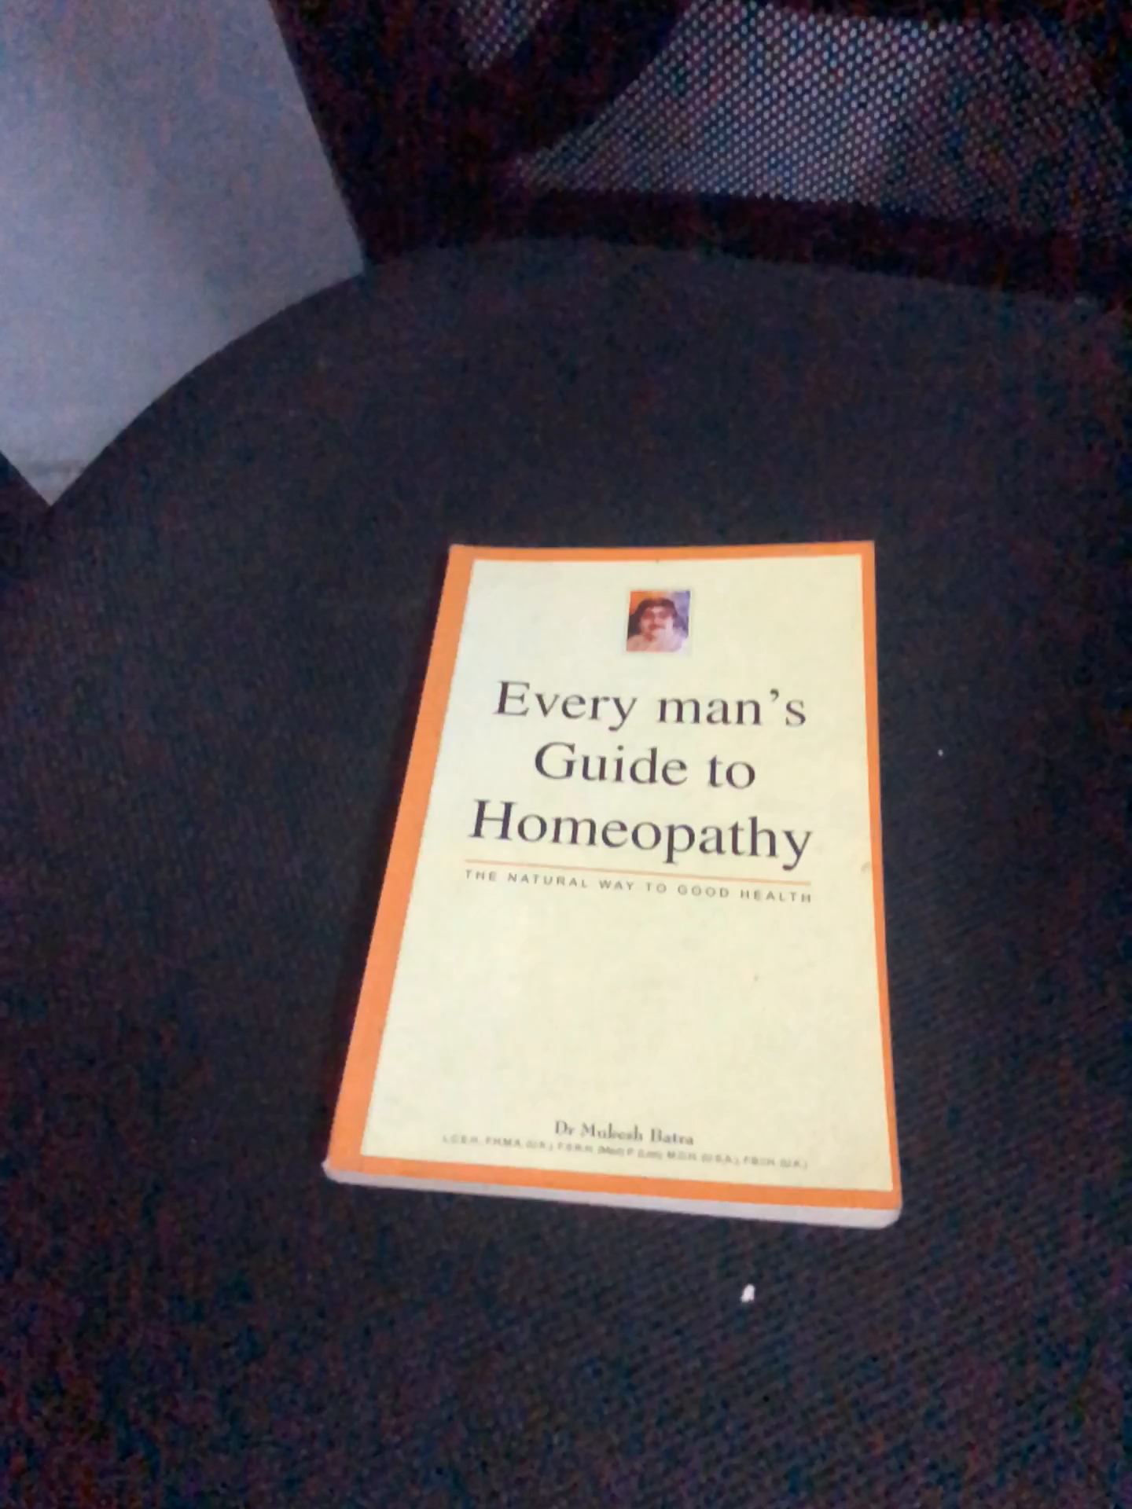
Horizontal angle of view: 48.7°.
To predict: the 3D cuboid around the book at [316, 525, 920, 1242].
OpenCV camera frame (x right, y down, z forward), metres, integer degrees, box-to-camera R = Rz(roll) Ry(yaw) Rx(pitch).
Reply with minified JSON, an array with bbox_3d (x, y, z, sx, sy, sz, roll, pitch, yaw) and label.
[{"bbox_3d":[0.022,0.021,0.356,0.140,0.026,0.208,2,57,8],"label":"book"}]
